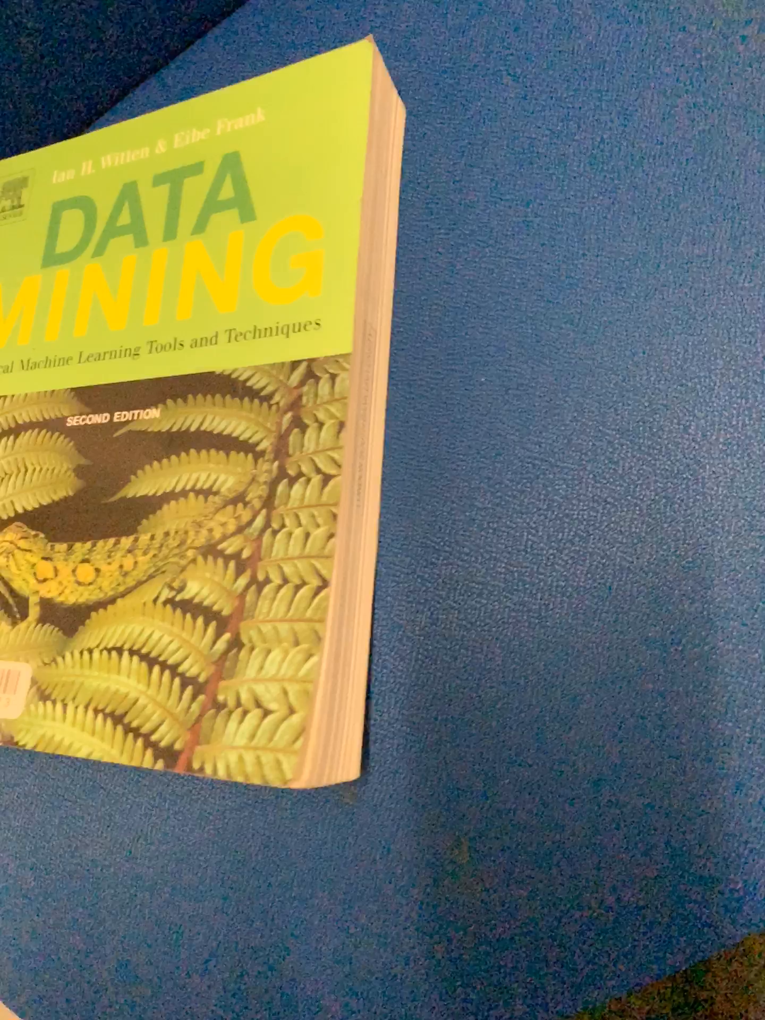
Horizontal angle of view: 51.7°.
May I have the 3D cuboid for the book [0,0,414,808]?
[{"bbox_3d":[-0.105,-0.035,0.288,0.221,0.050,0.240,-3,76,27],"label":"book"}]
